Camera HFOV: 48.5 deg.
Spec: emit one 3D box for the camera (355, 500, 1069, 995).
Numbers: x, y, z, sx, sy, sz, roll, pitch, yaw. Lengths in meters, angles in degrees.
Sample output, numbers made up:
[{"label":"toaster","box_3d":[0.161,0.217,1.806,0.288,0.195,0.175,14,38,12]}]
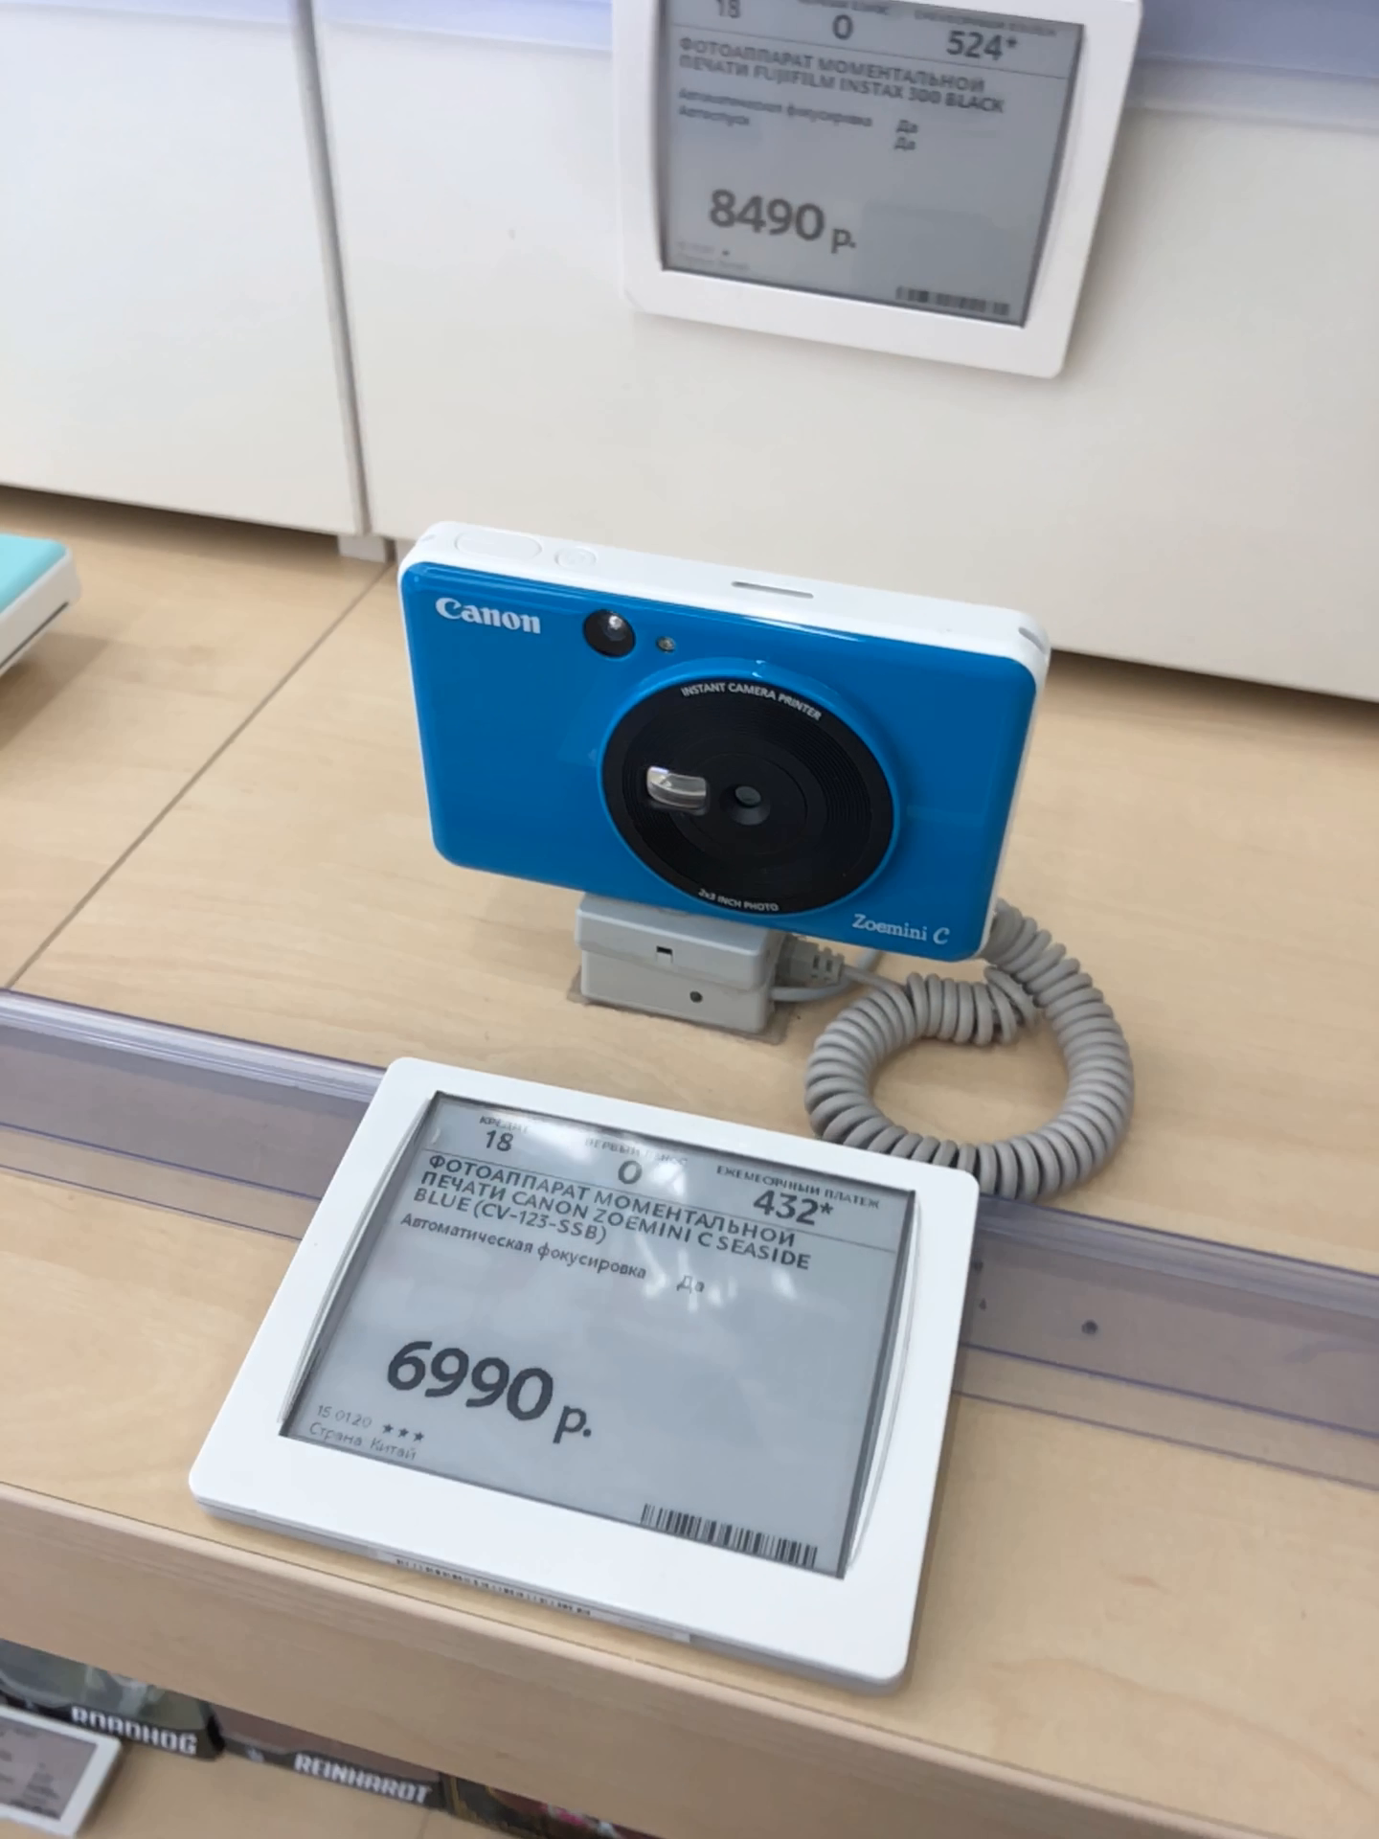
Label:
[{"label":"camera","box_3d":[0.004,-0.032,0.289,0.120,0.070,0.030,11,46,11]}]
